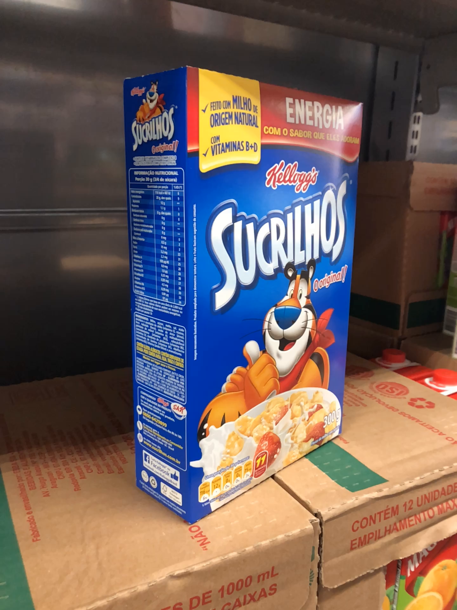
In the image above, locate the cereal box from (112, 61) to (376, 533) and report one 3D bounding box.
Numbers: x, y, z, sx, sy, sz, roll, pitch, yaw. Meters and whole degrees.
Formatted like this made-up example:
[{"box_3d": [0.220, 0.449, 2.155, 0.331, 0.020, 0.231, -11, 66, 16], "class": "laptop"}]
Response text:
[{"box_3d": [0.017, -0.010, 0.340, 0.171, 0.249, 0.060, -13, 20, -43], "class": "cereal box"}]
